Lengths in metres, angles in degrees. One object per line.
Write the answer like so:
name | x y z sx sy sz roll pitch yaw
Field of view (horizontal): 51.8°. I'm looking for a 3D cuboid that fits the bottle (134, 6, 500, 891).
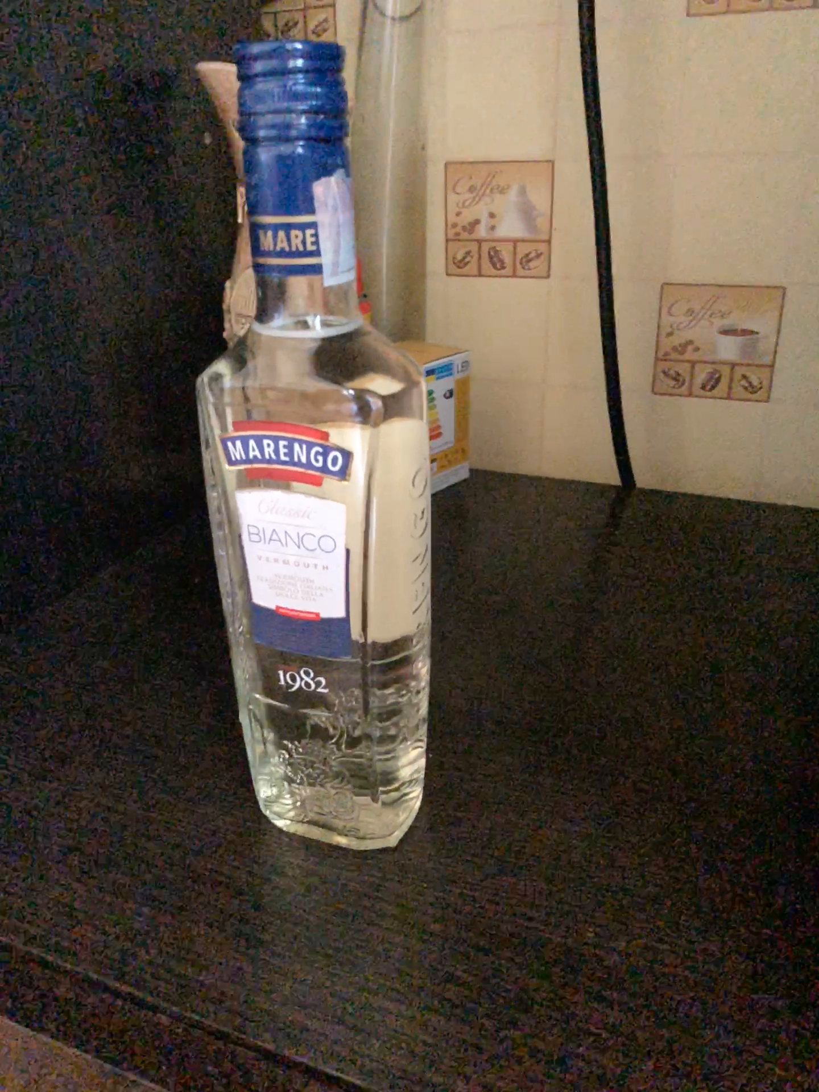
bottle | -0.022 -0.015 0.299 0.090 0.289 0.050 9 27 20
